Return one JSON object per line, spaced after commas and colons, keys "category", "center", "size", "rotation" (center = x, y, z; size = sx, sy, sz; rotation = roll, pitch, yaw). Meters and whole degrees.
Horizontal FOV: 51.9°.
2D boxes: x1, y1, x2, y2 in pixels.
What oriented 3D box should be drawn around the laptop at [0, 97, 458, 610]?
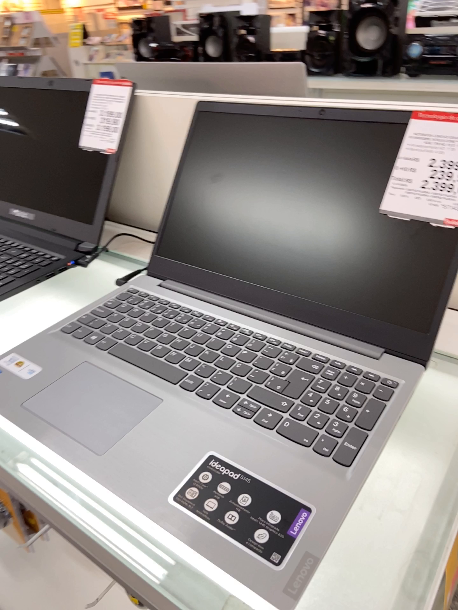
{"category": "laptop", "center": [-0.003, -0.051, 0.447], "size": [0.370, 0.192, 0.404], "rotation": [18, 39, 32]}
